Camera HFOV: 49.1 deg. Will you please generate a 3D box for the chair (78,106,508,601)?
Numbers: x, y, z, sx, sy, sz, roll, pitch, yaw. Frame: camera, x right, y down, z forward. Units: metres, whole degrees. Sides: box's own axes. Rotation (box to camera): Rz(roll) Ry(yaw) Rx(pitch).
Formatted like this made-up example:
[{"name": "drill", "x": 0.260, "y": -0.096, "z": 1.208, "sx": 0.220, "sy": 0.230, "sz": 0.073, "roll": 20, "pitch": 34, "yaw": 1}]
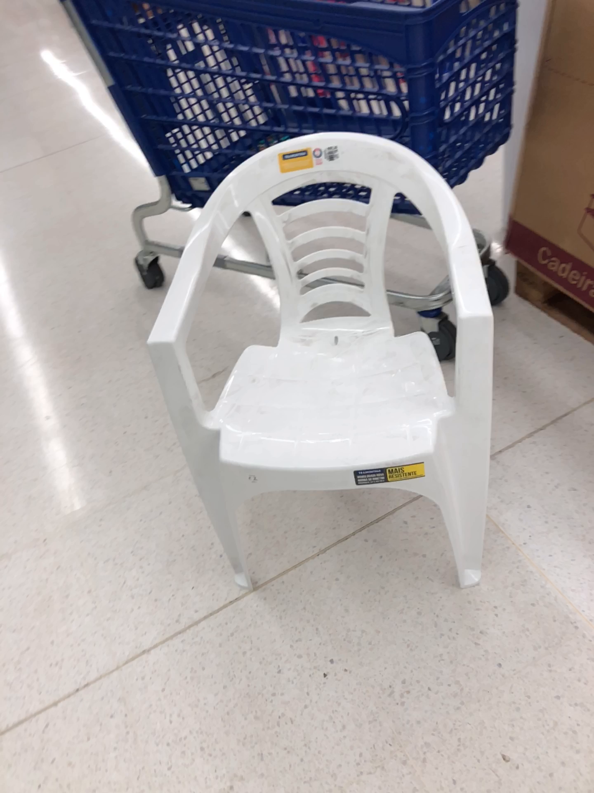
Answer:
[{"name": "chair", "x": 0.061, "y": -0.039, "z": 1.185, "sx": 0.520, "sy": 0.695, "sz": 0.504, "roll": -4, "pitch": 43, "yaw": 10}]
